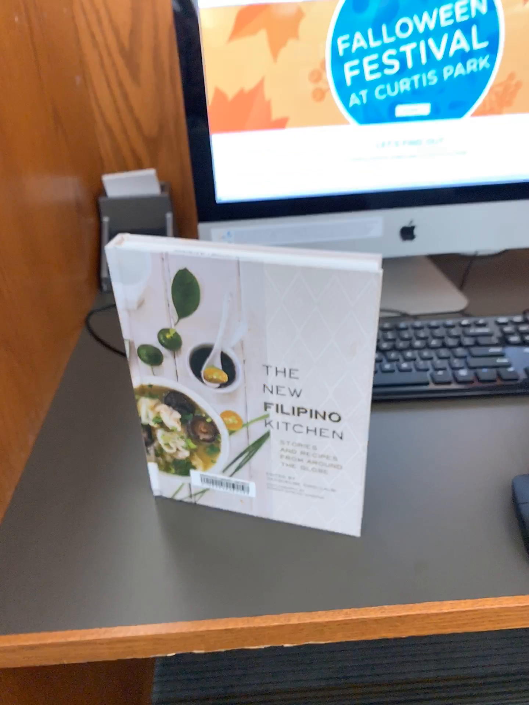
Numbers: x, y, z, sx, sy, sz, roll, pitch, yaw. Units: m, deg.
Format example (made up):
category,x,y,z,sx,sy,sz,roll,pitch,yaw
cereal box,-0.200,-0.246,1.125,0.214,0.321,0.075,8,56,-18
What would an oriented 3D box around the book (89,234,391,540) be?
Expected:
category,x,y,z,sx,sy,sz,roll,pitch,yaw
book,-0.014,0.032,0.412,0.193,0.229,0.030,7,34,16
